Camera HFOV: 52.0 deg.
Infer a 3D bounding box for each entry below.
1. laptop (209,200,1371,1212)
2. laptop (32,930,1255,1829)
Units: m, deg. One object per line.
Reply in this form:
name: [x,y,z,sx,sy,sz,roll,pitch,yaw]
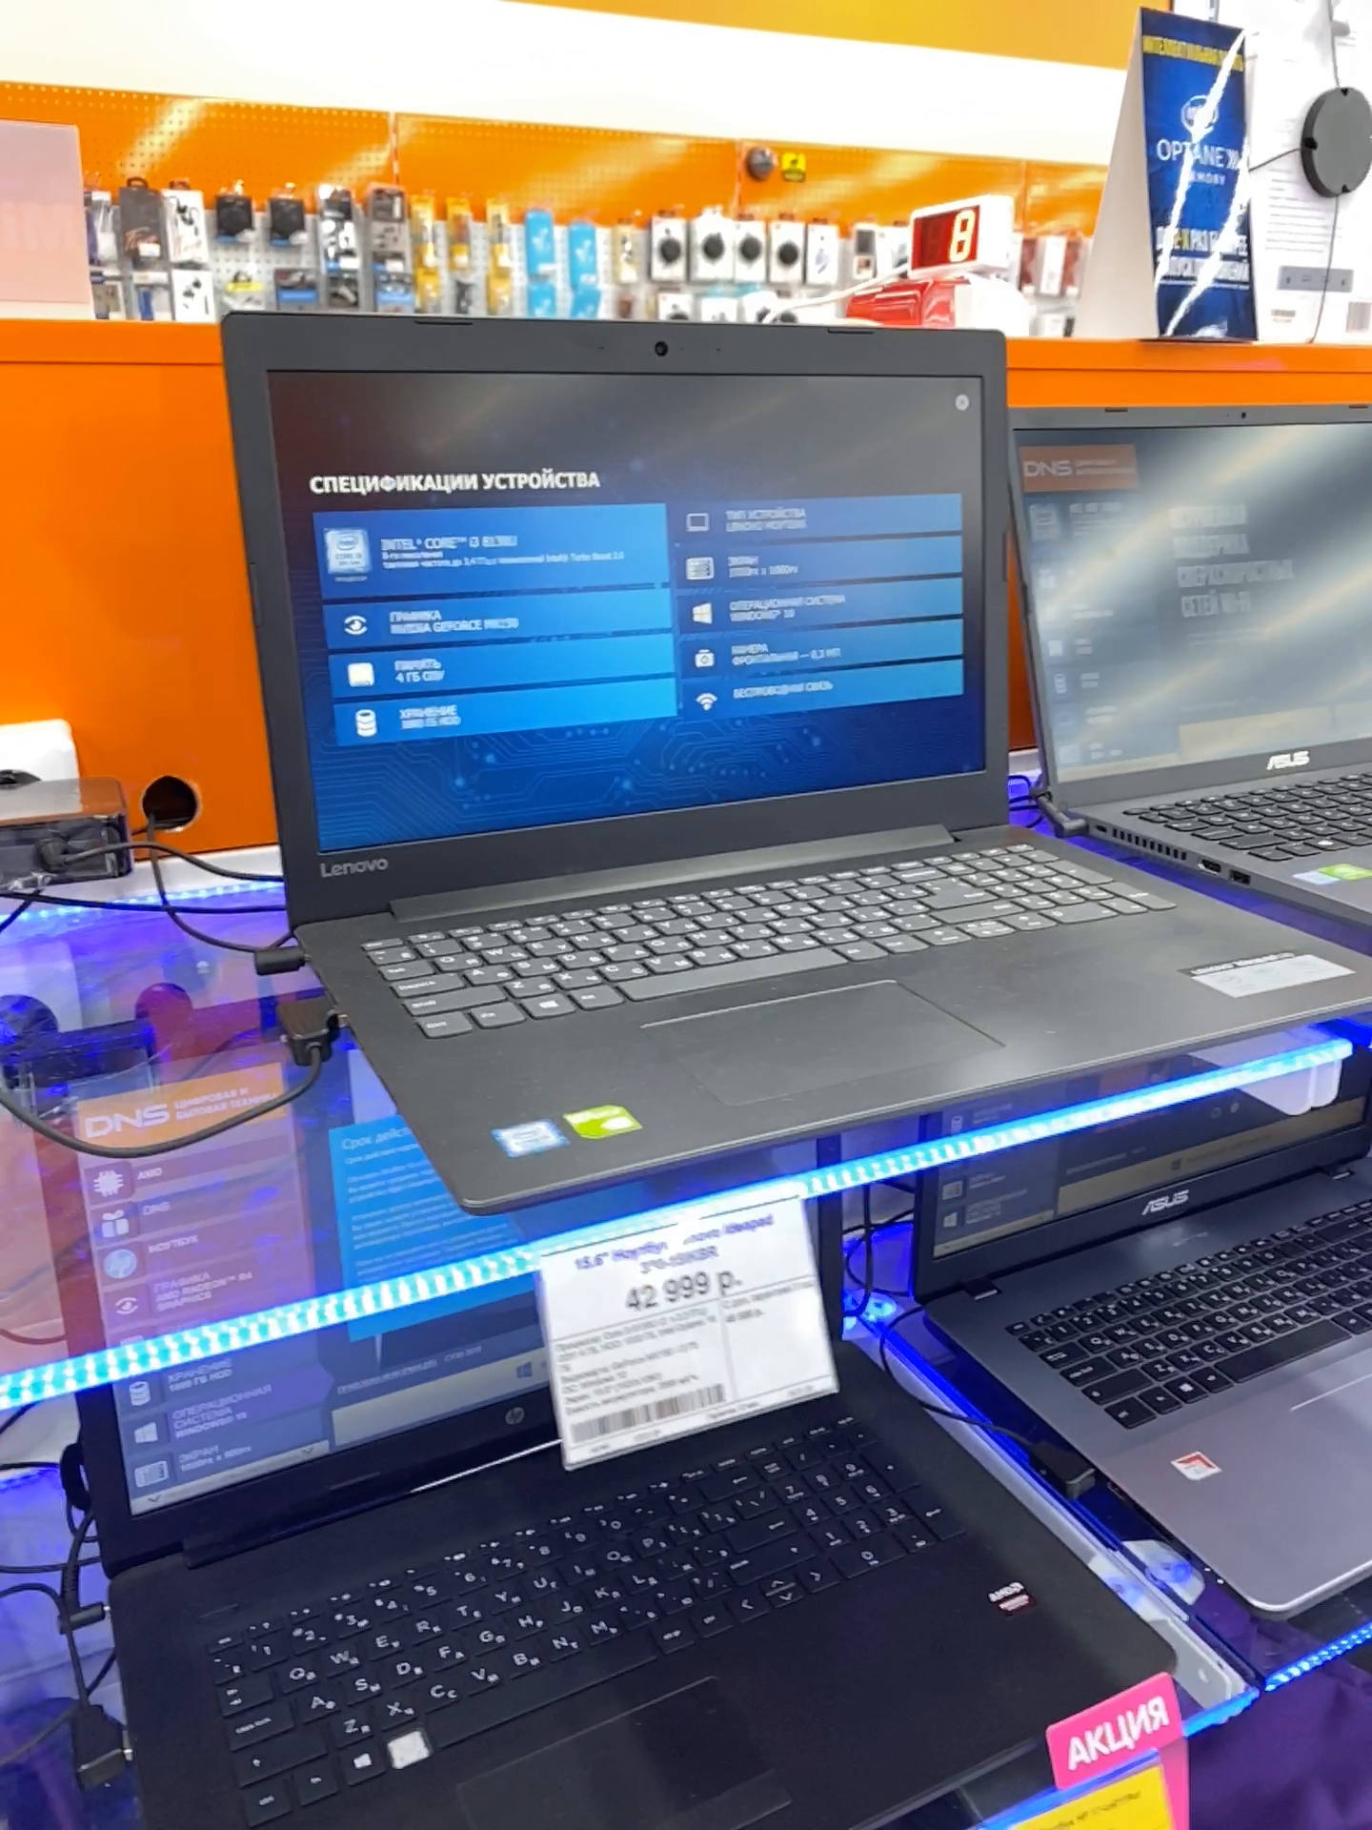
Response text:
laptop: [0.046,-0.104,0.541,0.377,0.244,0.290,-8,20,-24]
laptop: [-0.028,0.191,0.595,0.400,0.263,0.272,-9,18,-27]
